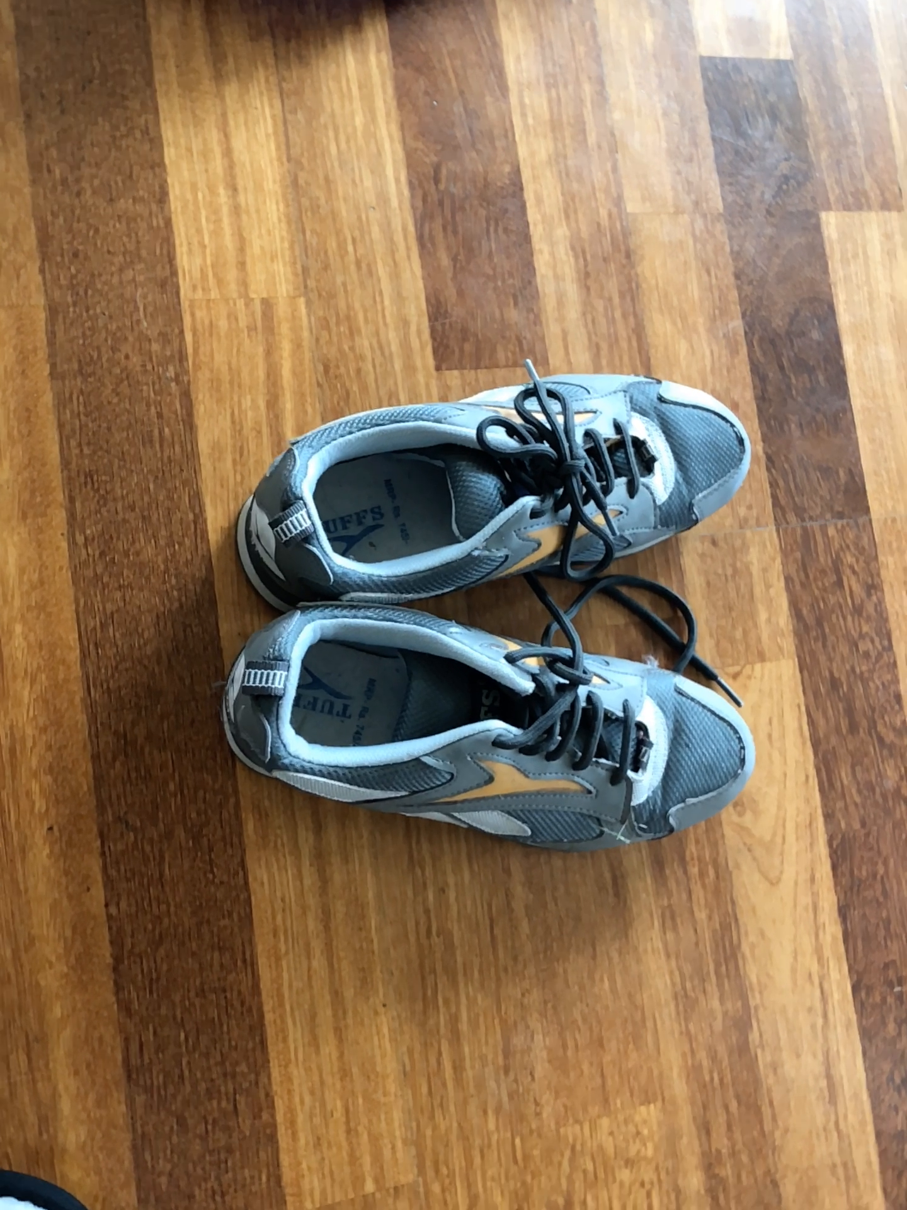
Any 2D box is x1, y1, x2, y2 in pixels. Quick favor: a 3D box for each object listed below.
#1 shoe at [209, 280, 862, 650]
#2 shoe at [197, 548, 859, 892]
[{"bbox_3d":[0.035,-0.068,0.488,0.283,0.099,0.112,-12,83,-16],"label":"shoe"},{"bbox_3d":[0.035,0.059,0.462,0.283,0.088,0.110,9,78,-14],"label":"shoe"}]
